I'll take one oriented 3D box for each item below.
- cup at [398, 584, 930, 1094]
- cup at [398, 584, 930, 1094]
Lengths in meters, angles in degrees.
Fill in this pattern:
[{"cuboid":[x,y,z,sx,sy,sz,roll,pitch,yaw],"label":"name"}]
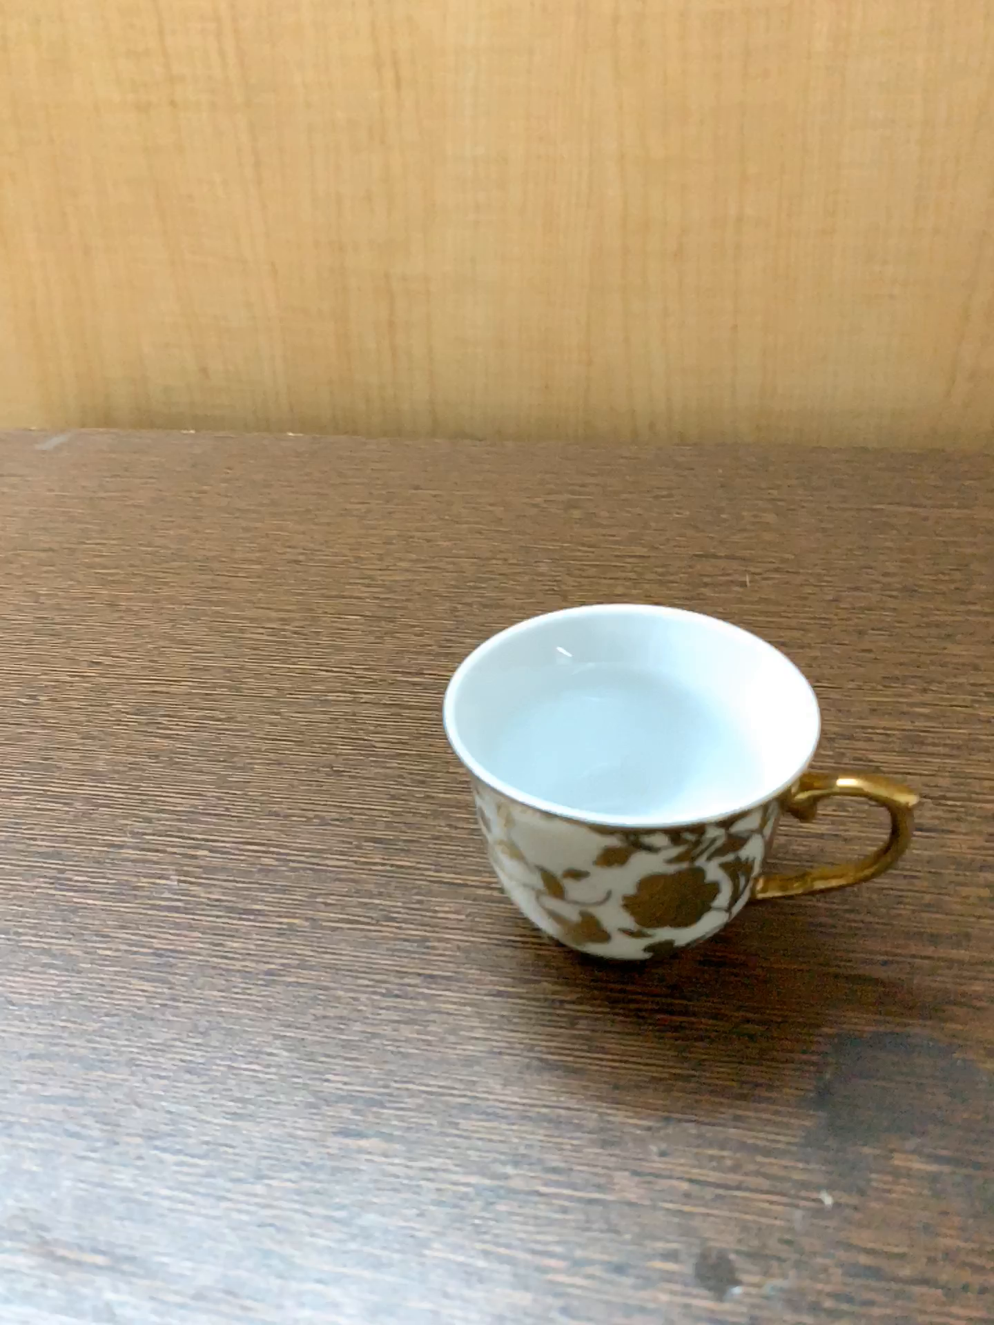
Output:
[{"cuboid":[0.033,0.028,0.197,0.080,0.050,0.071,7,34,14],"label":"cup"},{"cuboid":[0.033,0.028,0.197,0.080,0.050,0.071,7,34,14],"label":"cup"}]
